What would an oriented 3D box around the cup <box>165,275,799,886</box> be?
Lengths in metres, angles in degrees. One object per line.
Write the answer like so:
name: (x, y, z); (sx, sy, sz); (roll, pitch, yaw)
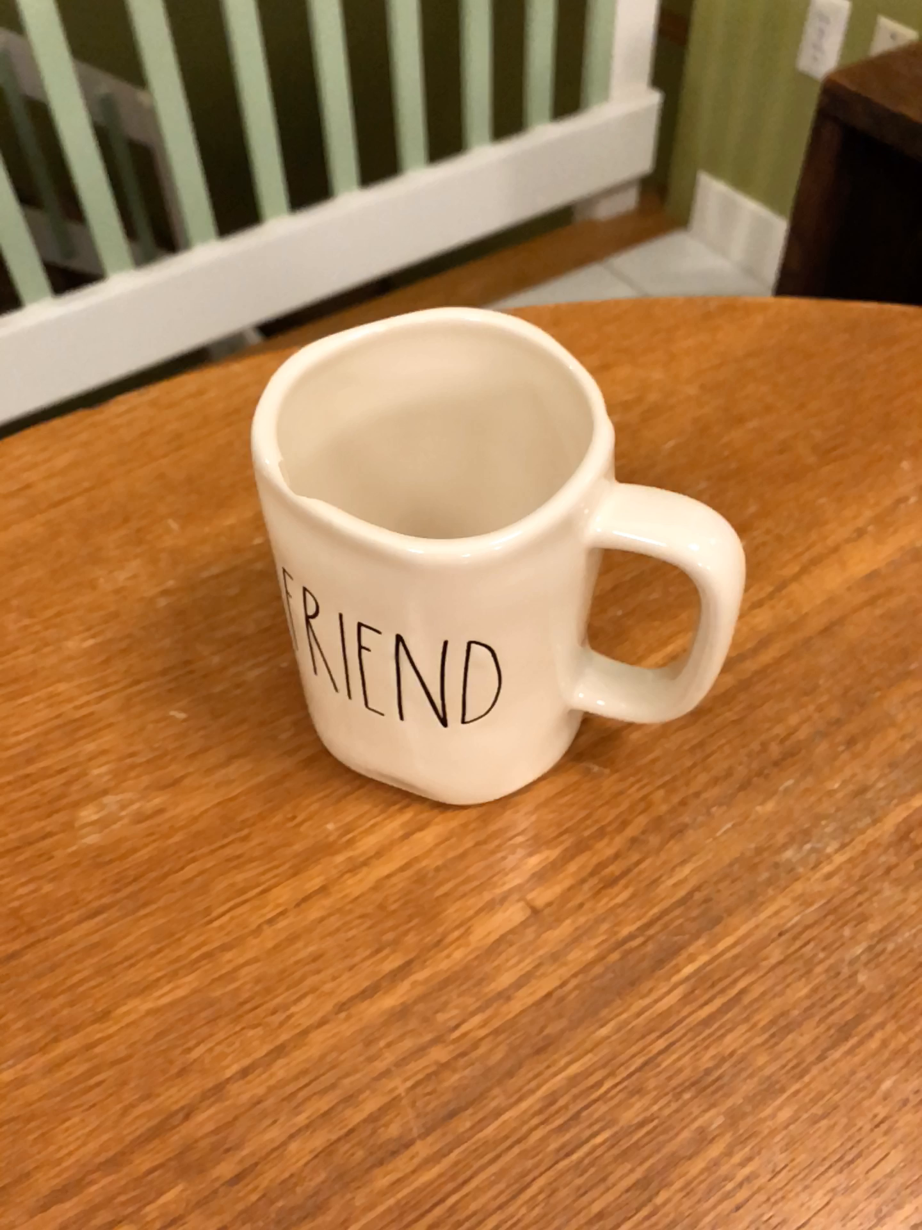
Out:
cup: (0.009, -0.008, 0.280); (0.124, 0.114, 0.084); (16, 53, 14)
